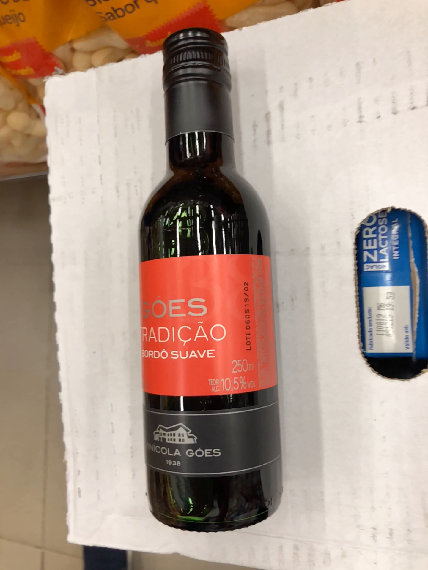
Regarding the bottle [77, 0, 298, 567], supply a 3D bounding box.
[{"bbox_3d":[-0.009,-0.014,0.189,0.060,0.050,0.210,-5,86,22],"label":"bottle"}]
